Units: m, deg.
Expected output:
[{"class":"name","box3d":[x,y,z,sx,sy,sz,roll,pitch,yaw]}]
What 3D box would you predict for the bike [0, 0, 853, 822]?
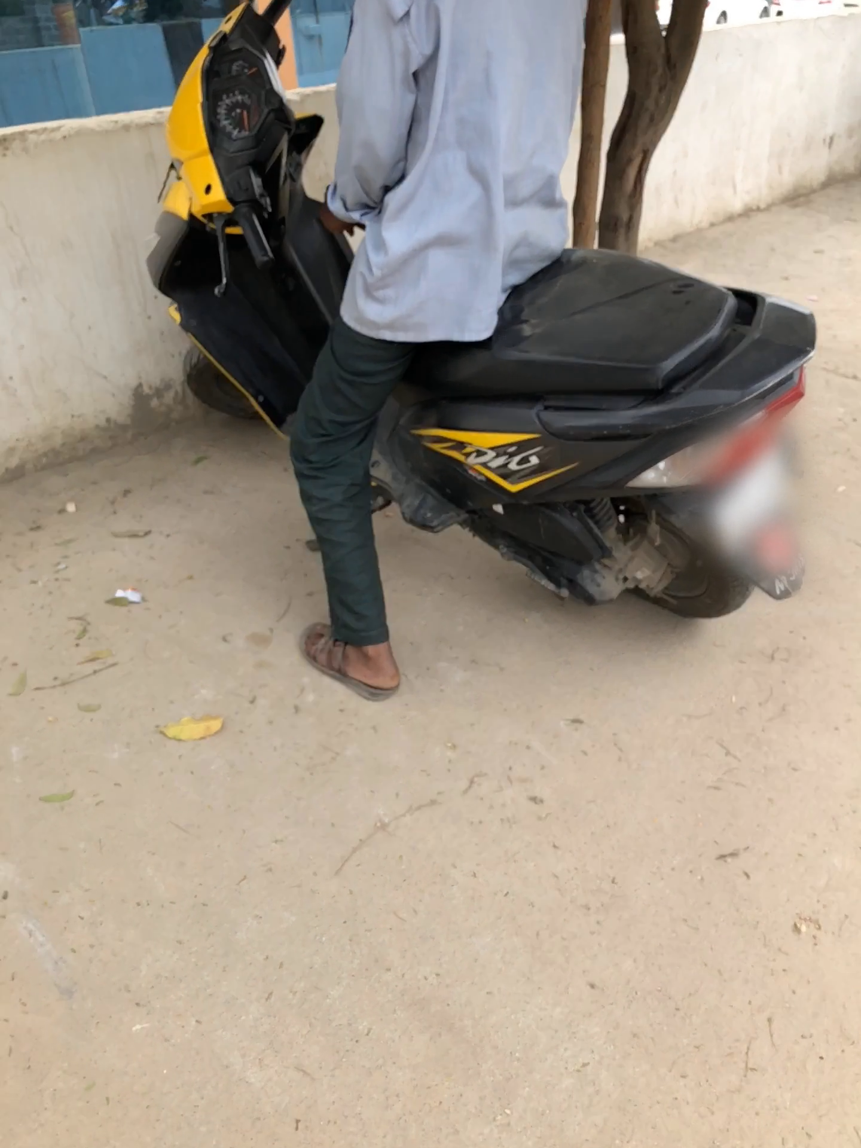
[{"class":"bike","box3d":[-0.202,-0.502,1.805,1.571,1.144,0.638,22,40,30]}]
